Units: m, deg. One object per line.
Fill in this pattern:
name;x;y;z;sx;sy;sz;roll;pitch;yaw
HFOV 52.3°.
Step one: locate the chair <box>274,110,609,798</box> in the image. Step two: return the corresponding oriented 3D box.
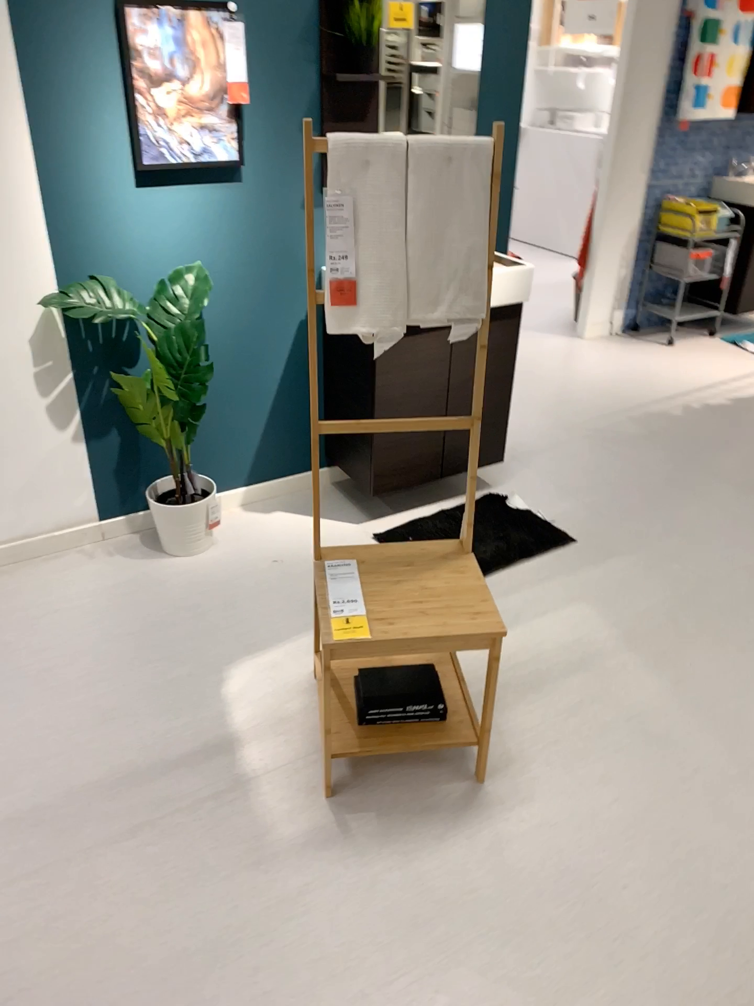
chair;0.054;-0.056;1.560;0.460;1.294;0.472;-2;30;-6
